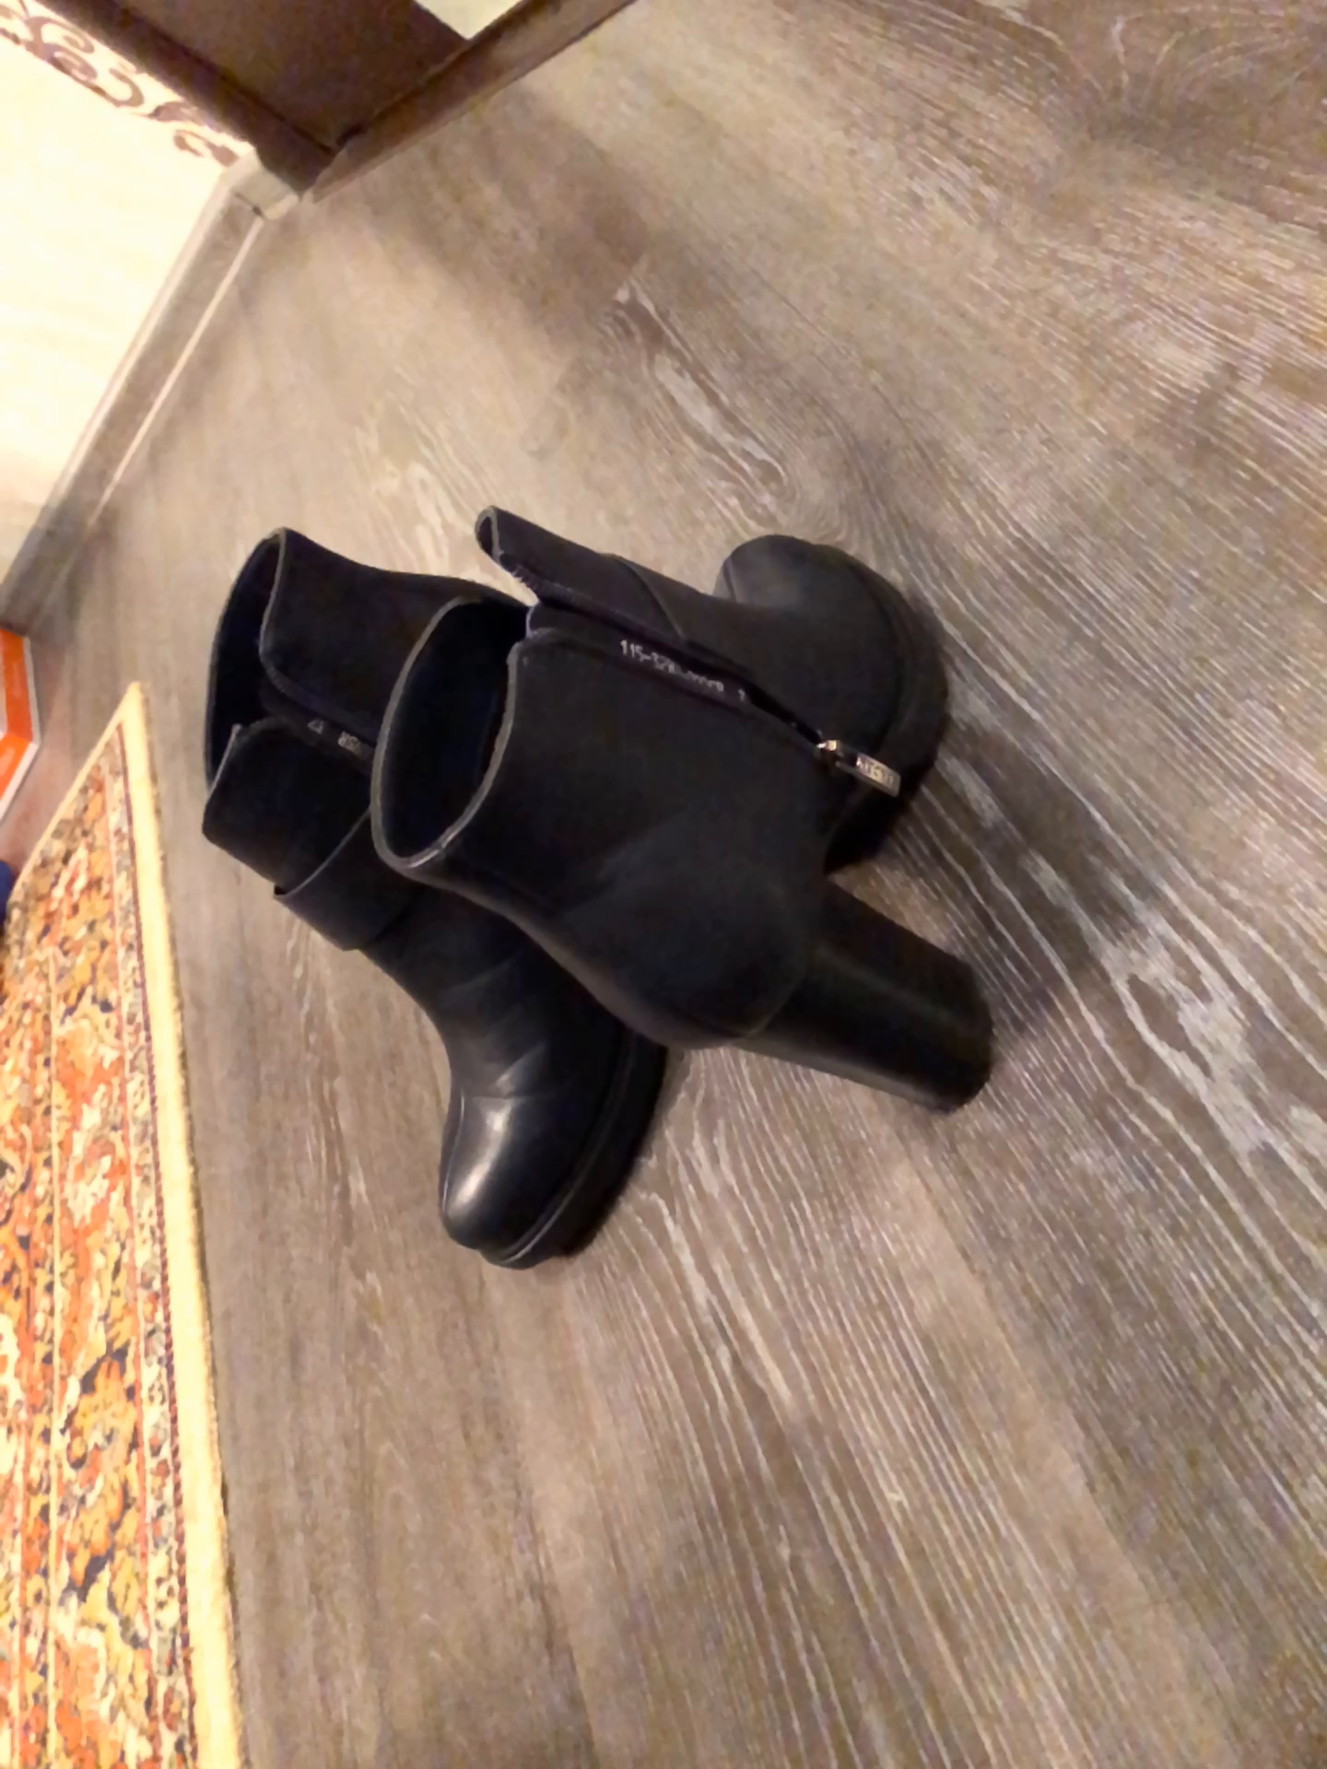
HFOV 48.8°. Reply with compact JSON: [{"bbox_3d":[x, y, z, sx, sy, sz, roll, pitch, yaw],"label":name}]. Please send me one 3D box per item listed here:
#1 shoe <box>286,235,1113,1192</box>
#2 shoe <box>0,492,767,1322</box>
[{"bbox_3d":[0.003,-0.046,0.421,0.090,0.189,0.211,-41,41,33],"label":"shoe"},{"bbox_3d":[-0.089,0.016,0.494,0.090,0.189,0.210,0,71,54],"label":"shoe"}]
